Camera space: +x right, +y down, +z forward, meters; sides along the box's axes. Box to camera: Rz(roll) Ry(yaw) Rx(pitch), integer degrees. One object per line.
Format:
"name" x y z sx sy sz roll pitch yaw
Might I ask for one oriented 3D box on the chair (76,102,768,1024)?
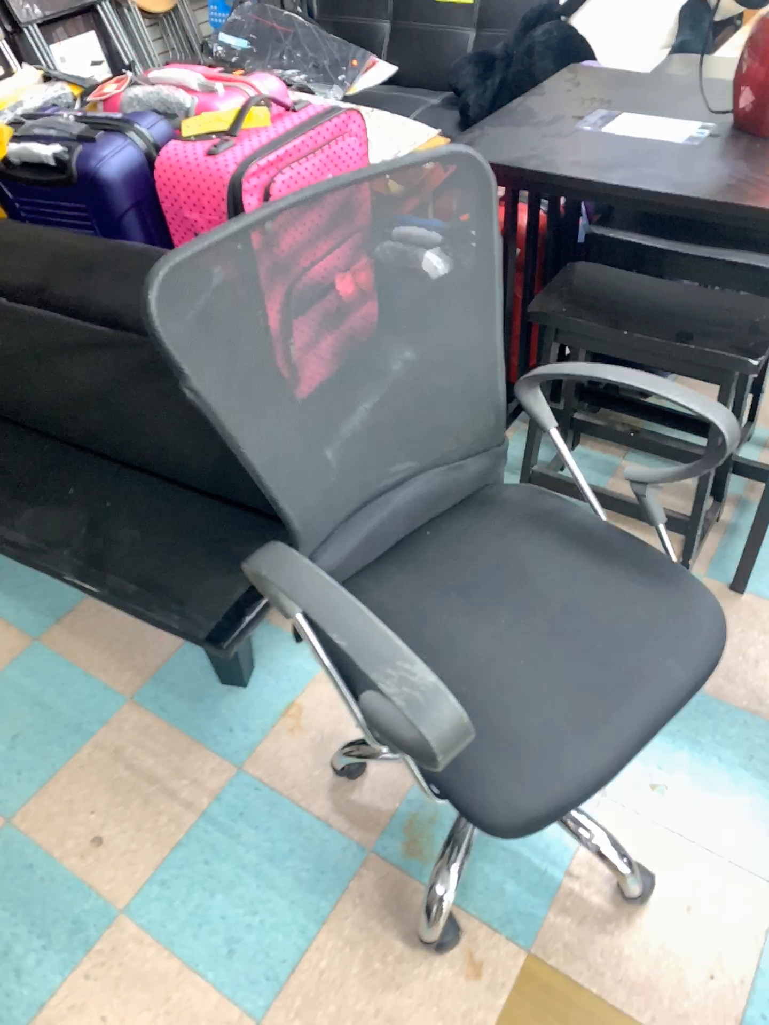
"chair" 0.175 0.135 1.041 0.621 1.020 0.602 -34 50 -27
